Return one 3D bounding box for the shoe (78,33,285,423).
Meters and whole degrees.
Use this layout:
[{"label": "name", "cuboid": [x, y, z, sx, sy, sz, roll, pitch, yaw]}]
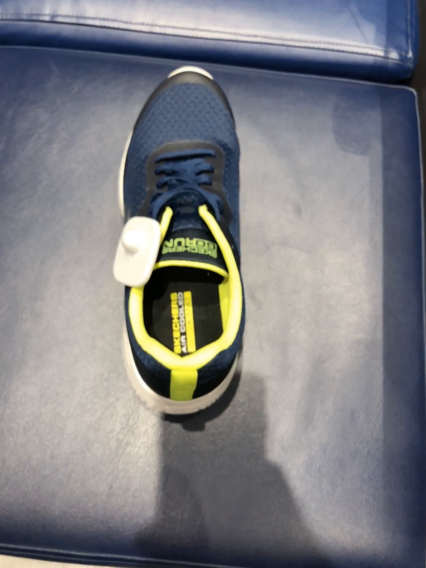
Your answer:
[{"label": "shoe", "cuboid": [-0.026, -0.032, 0.360, 0.113, 0.132, 0.255, -3, 75, -3]}]
